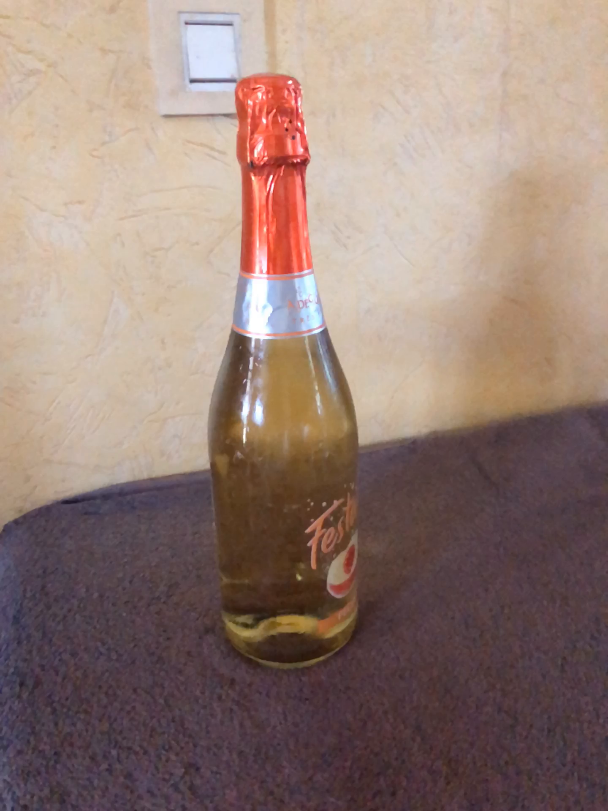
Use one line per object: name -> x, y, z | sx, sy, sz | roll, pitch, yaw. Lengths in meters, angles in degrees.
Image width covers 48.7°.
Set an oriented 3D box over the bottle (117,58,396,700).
bottle -> -0.013, -0.008, 0.360 | 0.090, 0.308, 0.091 | -2, 22, 1
